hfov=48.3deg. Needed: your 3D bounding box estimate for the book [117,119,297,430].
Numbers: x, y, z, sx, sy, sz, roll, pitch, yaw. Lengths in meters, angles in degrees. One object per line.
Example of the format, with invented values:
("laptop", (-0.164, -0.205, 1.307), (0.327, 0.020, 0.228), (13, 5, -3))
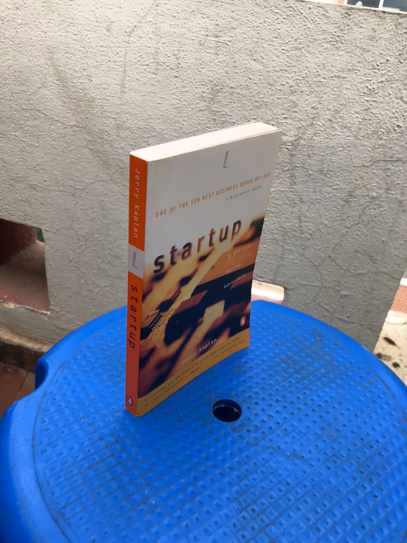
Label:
("book", (0.001, 0.001, 0.336), (0.030, 0.199, 0.141), (28, 37, 31))
